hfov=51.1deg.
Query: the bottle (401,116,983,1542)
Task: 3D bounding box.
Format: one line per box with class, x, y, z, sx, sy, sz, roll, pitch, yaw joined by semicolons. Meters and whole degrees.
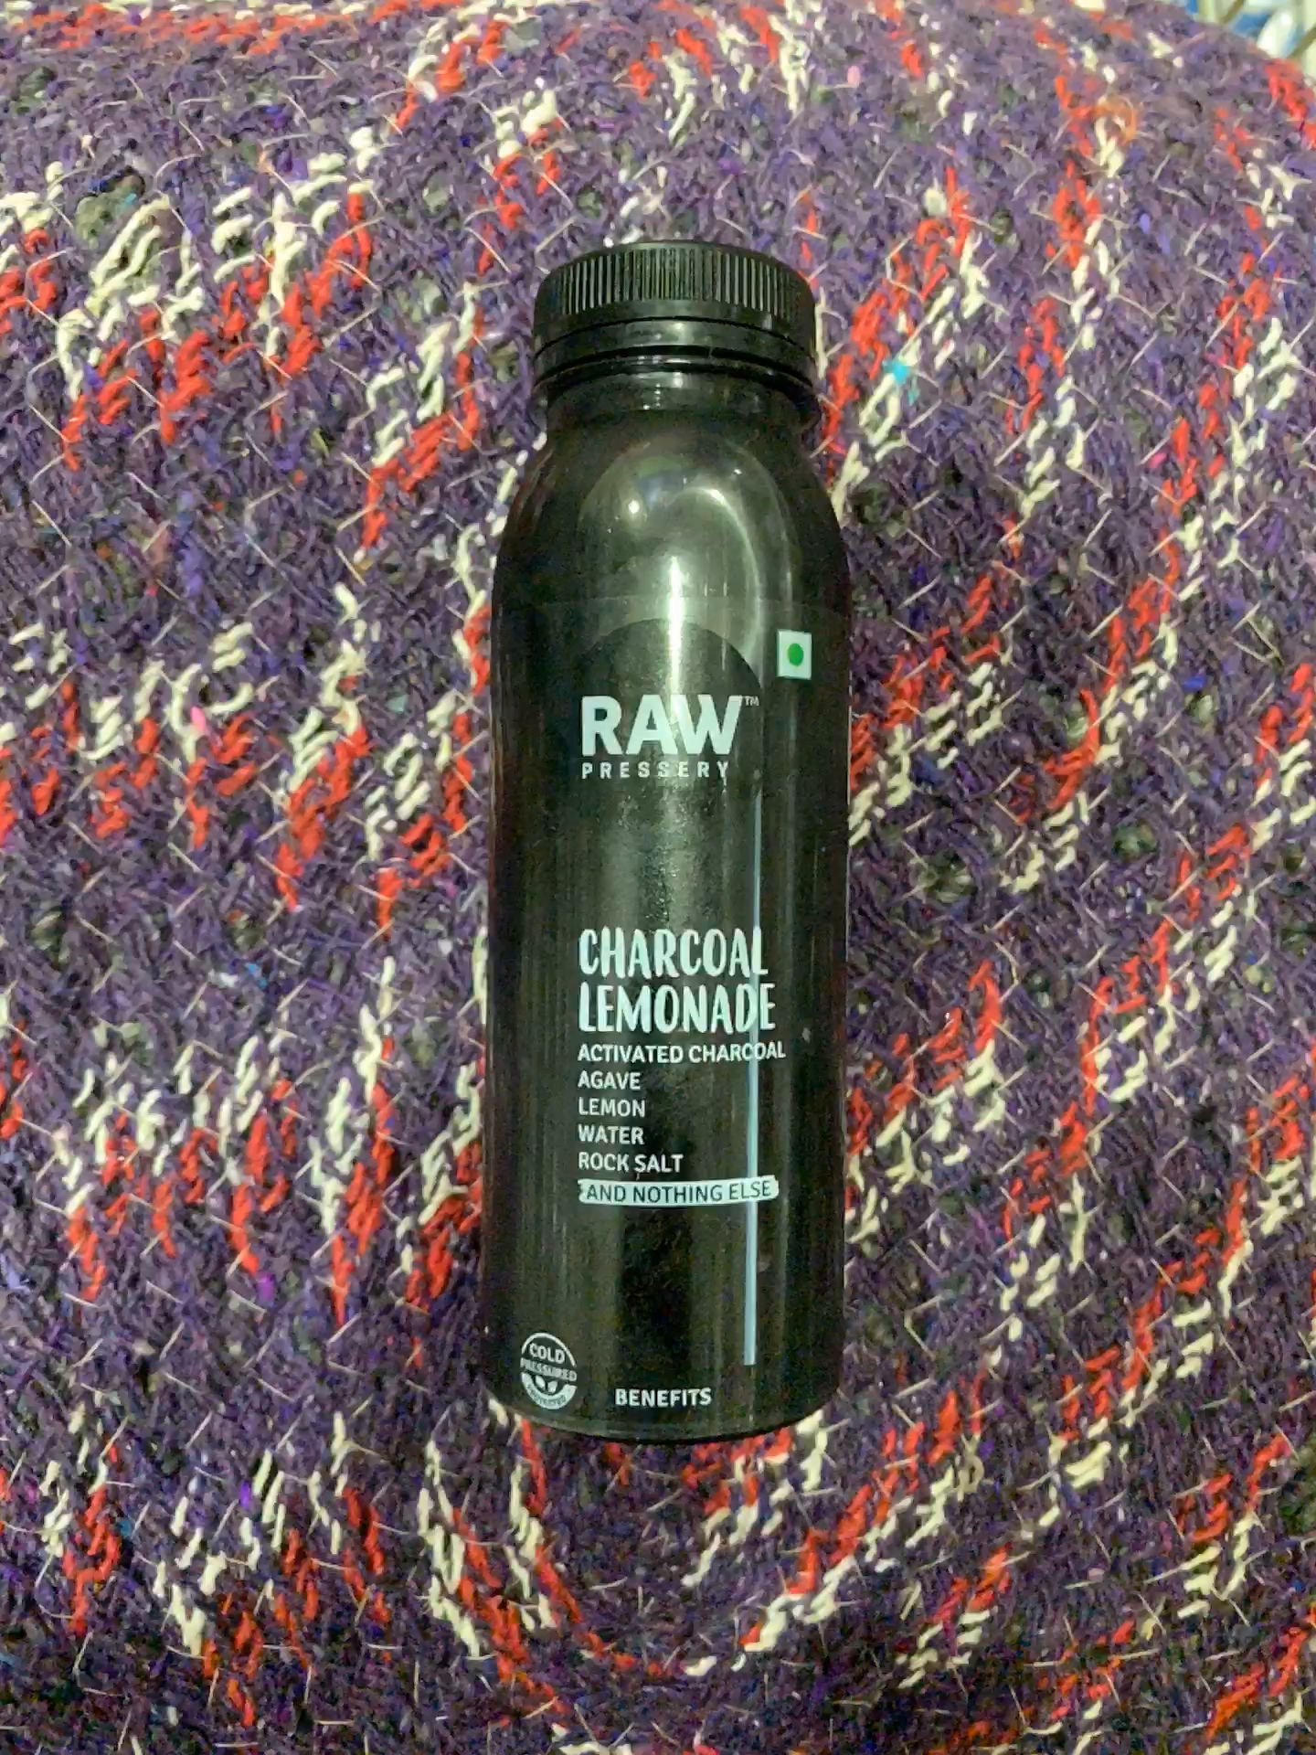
bottle;0.001;-0.003;0.182;0.060;0.050;0.160;2;94;-5
